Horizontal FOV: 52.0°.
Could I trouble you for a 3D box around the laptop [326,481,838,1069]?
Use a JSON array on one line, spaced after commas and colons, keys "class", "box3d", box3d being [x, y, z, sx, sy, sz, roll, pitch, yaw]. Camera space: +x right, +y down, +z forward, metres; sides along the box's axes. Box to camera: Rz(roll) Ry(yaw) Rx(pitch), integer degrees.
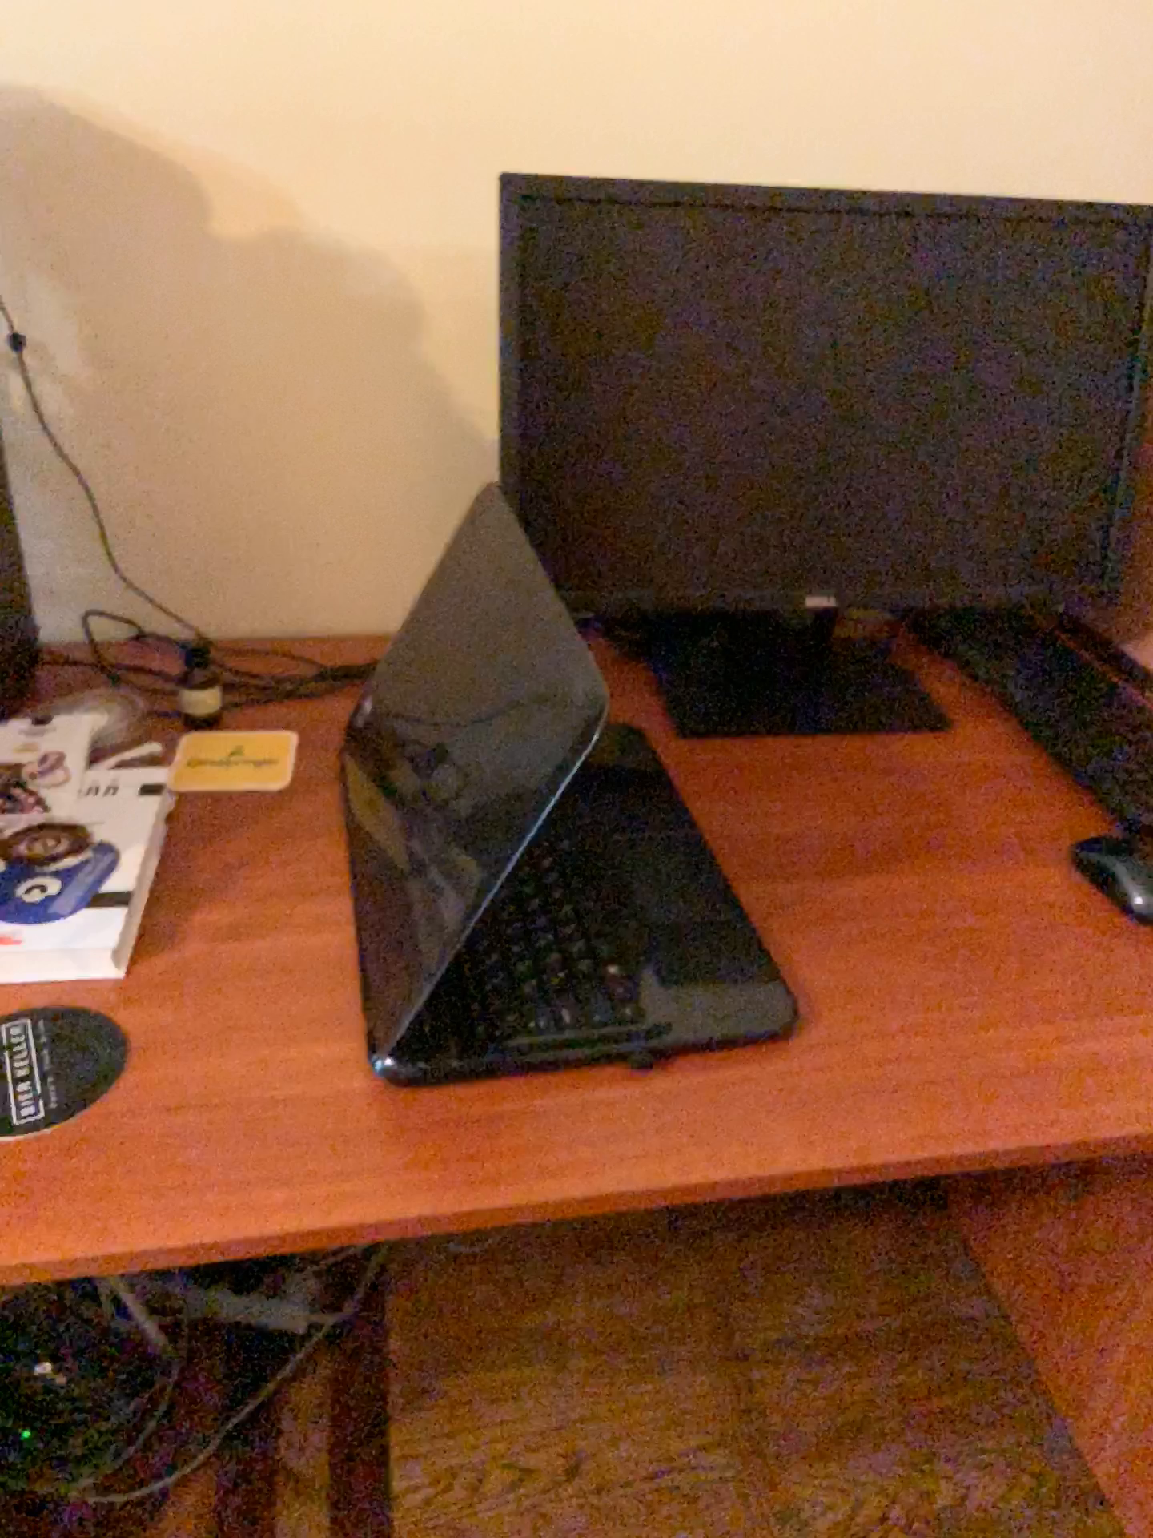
[{"class": "laptop", "box3d": [-0.029, -0.027, 0.731, 0.222, 0.198, 0.350, -3, 31, -13]}]
